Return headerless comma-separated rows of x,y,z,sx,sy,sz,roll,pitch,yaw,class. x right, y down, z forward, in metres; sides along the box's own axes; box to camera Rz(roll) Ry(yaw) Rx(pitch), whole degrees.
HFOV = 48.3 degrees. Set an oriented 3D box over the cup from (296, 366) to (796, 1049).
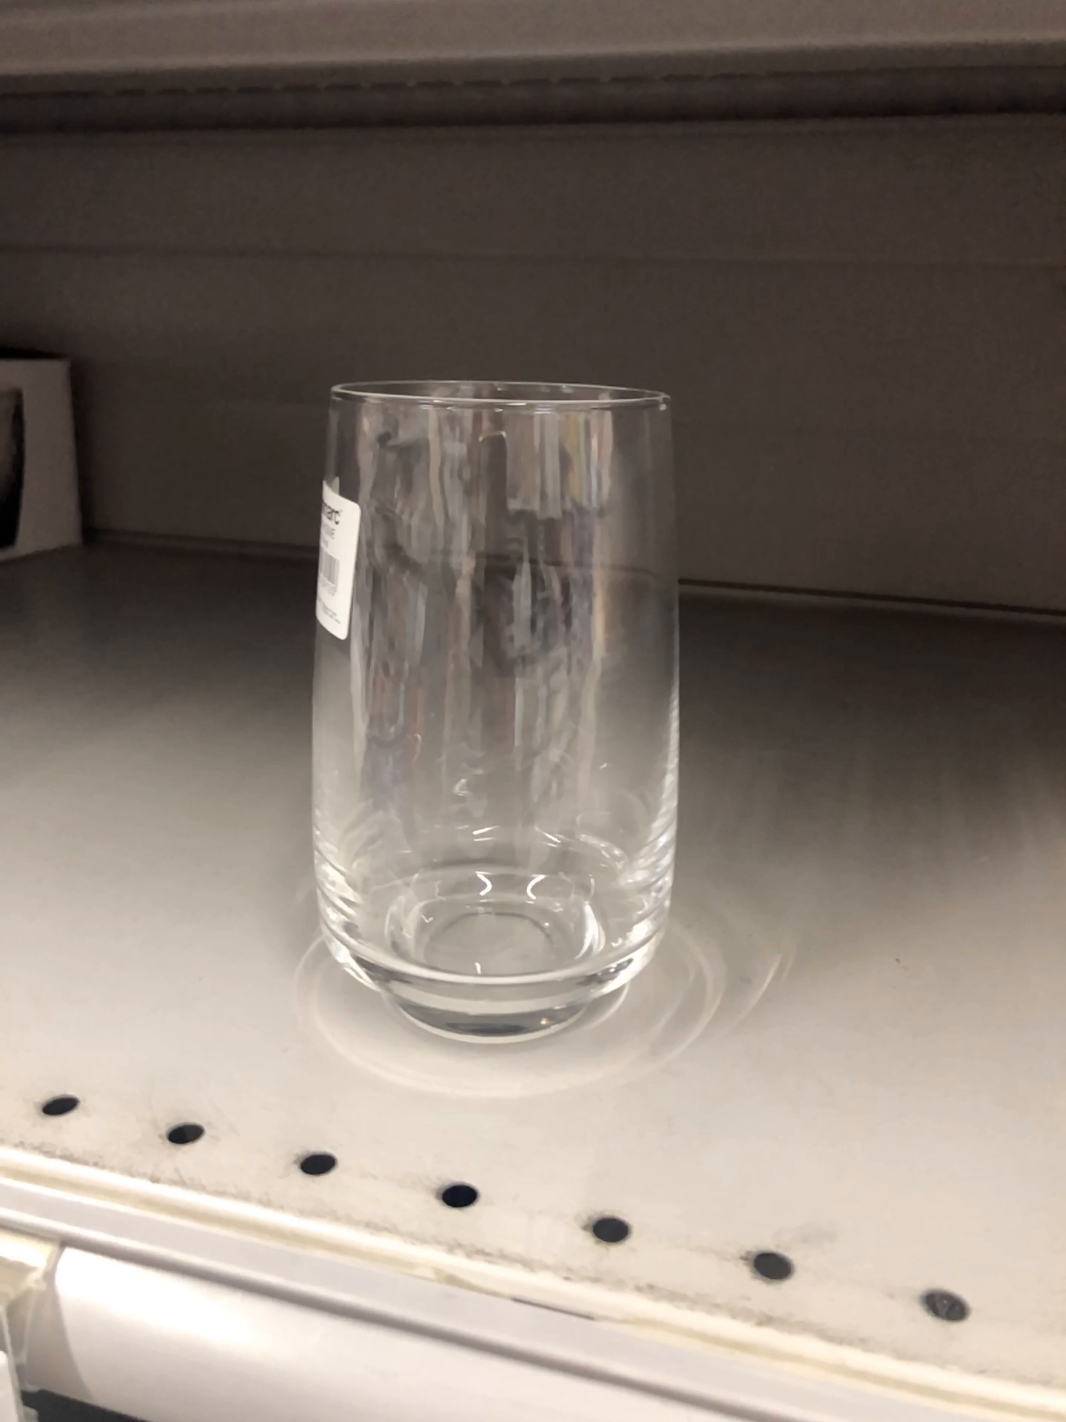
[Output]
-0.003,-0.007,0.231,0.076,0.112,0.076,2,17,0,cup
